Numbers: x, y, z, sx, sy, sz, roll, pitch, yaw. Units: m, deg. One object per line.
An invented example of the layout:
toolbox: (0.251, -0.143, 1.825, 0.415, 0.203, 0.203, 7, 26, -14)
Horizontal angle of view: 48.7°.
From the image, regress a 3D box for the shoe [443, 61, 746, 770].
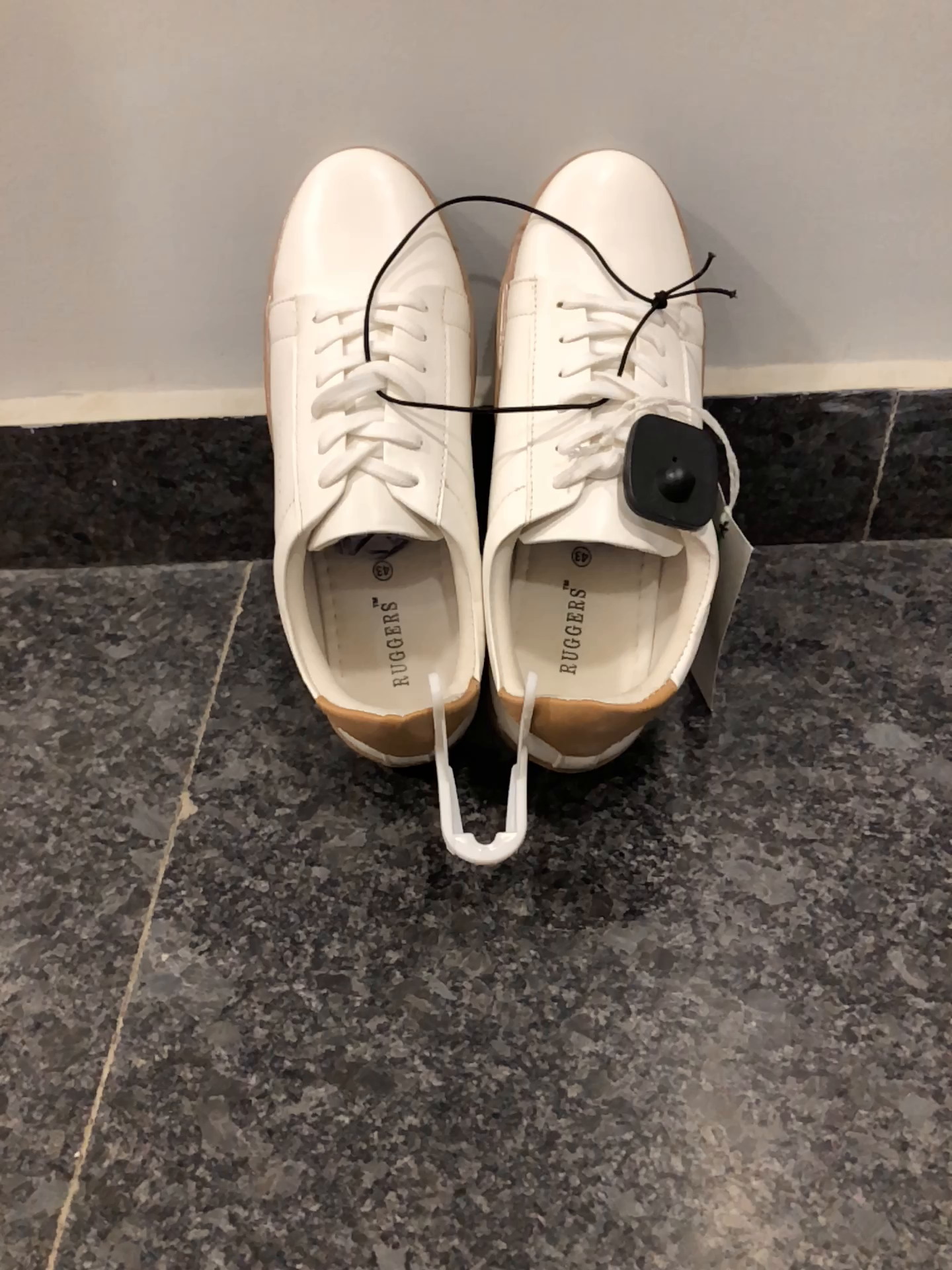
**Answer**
shoe: (0.044, -0.084, 0.448, 0.107, 0.103, 0.274, 2, 80, -2)

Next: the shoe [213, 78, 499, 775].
shoe: (-0.048, -0.083, 0.446, 0.101, 0.087, 0.273, -3, 78, 1)
